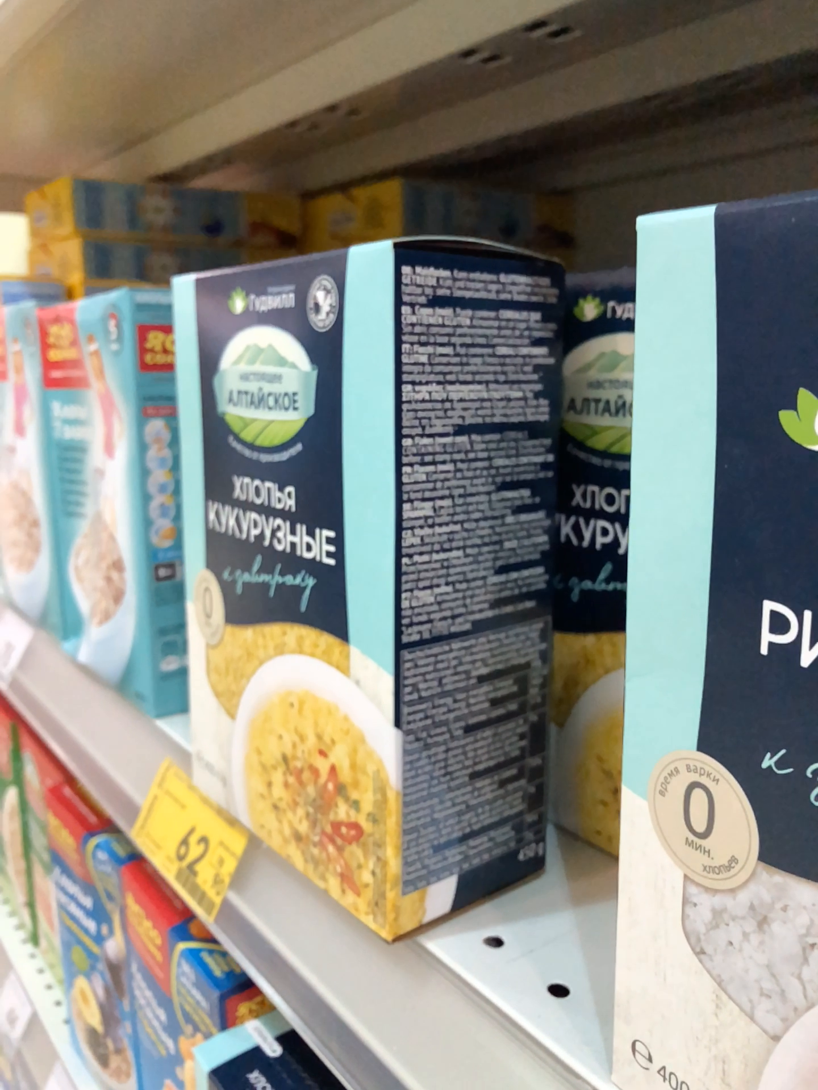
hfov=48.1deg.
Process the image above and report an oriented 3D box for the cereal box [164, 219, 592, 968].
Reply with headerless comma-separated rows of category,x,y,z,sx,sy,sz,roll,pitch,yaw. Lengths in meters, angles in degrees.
cereal box,-0.018,0.005,0.298,0.060,0.189,0.140,-8,13,-38
